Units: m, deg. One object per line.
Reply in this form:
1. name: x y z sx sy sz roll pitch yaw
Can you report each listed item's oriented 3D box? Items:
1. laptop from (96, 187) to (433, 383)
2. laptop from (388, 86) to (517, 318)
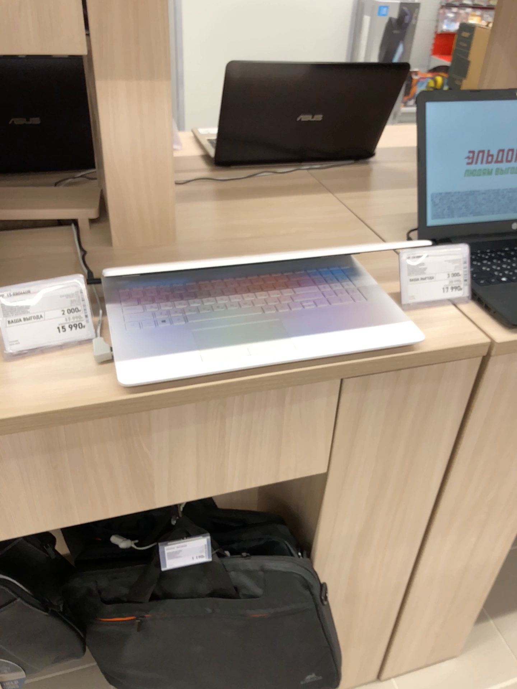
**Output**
1. laptop: -0.007 -0.095 0.735 0.368 0.103 0.233 -8 38 -15
2. laptop: 0.474 -0.243 0.887 0.391 0.219 0.351 -7 35 -17
